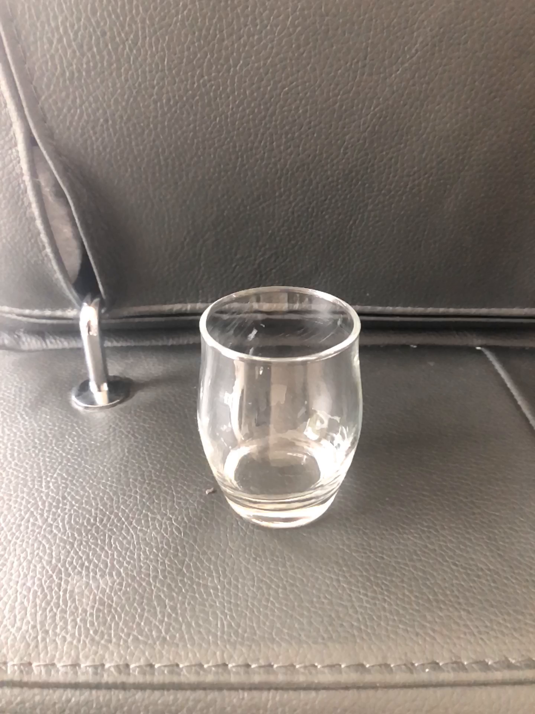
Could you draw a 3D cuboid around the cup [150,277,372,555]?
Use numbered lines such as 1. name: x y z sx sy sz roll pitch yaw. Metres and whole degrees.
1. cup: 0.003 0.023 0.274 0.080 0.089 0.081 0 30 0
